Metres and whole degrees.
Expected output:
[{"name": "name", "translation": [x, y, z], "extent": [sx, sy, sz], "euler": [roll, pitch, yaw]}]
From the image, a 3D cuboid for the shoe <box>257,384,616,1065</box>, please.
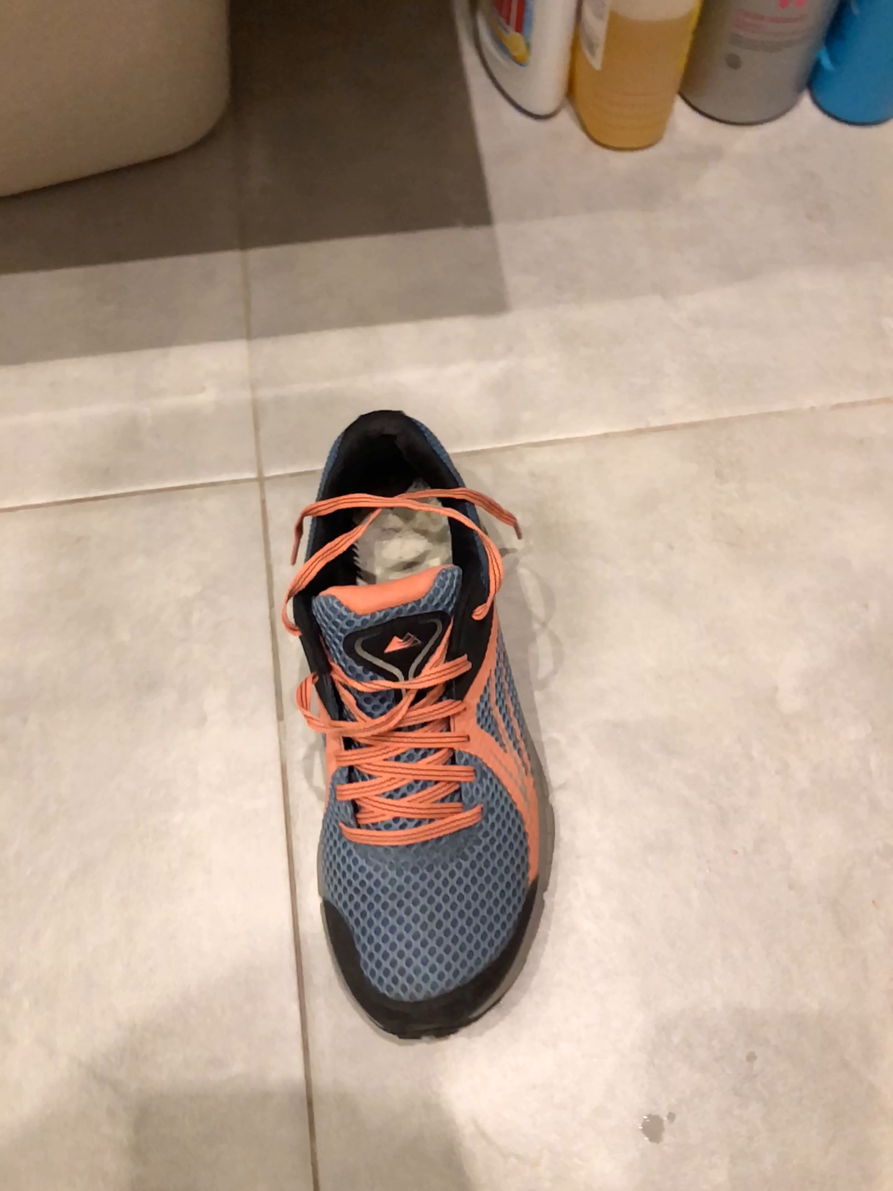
[{"name": "shoe", "translation": [-0.011, 0.048, 0.411], "extent": [0.110, 0.090, 0.251], "euler": [-6, 69, -2]}]
